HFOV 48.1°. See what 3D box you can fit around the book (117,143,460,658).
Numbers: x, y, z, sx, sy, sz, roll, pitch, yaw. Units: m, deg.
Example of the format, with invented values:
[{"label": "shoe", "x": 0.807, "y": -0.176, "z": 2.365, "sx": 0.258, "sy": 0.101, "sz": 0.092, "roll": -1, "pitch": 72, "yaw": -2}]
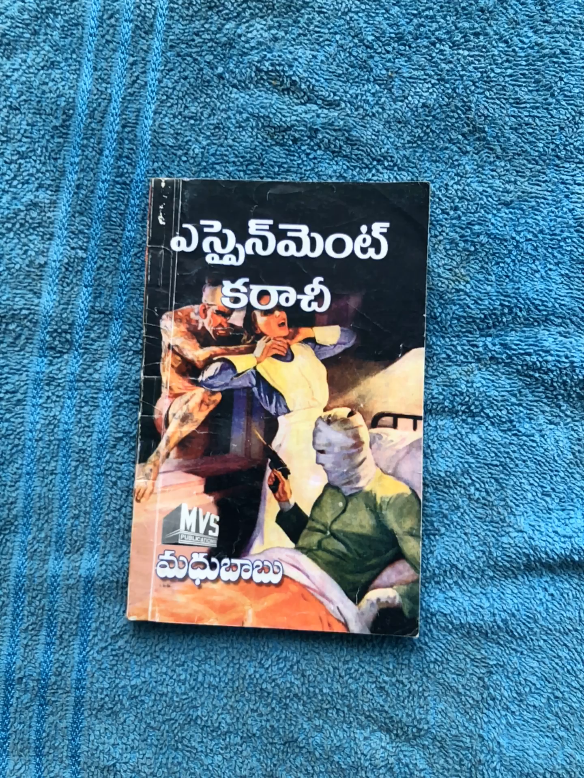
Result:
[{"label": "book", "x": 0.000, "y": 0.002, "z": 0.231, "sx": 0.110, "sy": 0.020, "sz": 0.170, "roll": 2, "pitch": 87, "yaw": 2}]
